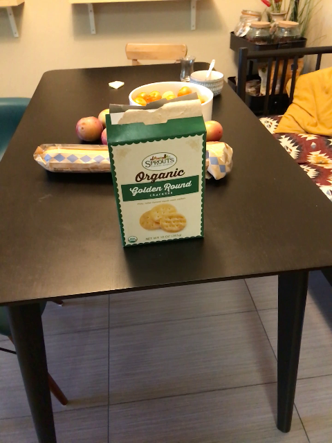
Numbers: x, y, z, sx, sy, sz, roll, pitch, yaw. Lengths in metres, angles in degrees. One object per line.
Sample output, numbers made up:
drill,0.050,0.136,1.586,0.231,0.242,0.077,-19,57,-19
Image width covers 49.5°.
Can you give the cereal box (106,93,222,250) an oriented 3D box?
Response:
cereal box,-0.003,-0.081,0.631,0.170,0.248,0.081,-7,37,-6
